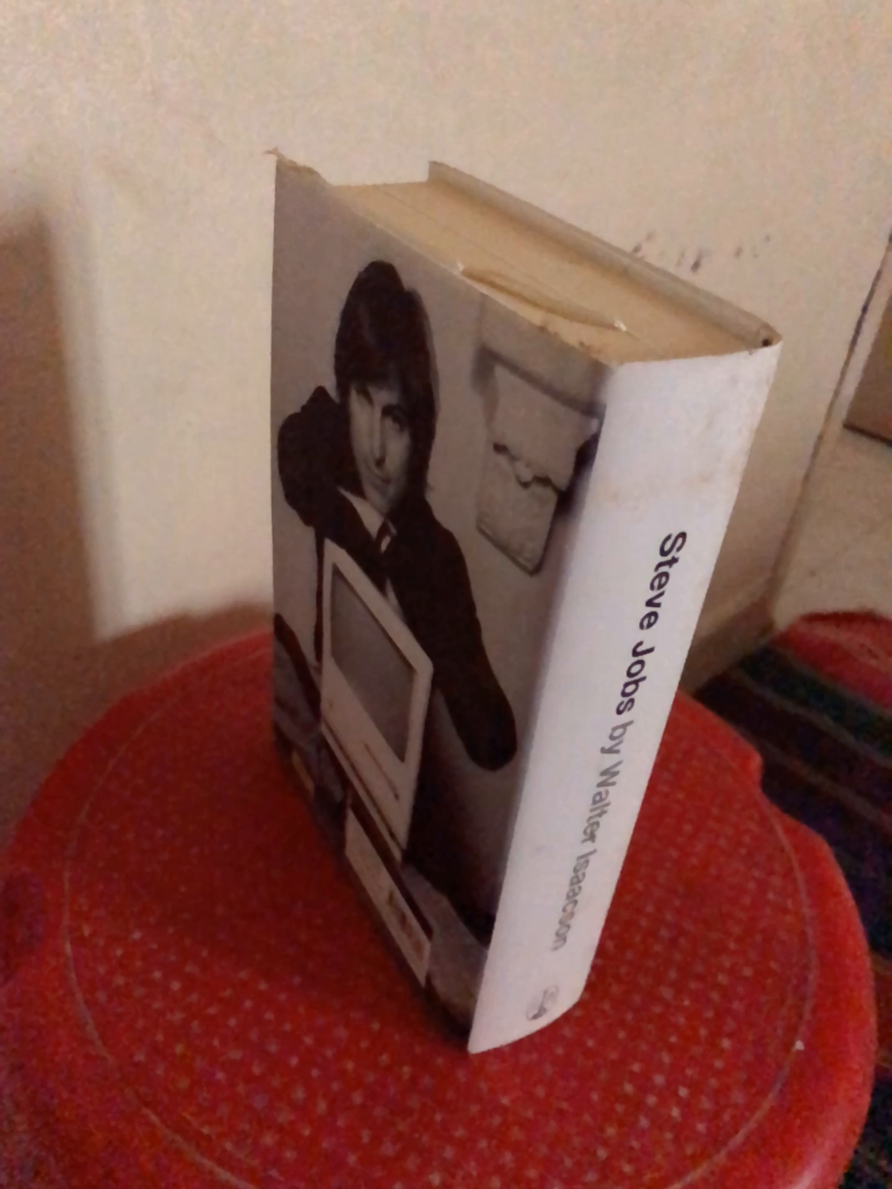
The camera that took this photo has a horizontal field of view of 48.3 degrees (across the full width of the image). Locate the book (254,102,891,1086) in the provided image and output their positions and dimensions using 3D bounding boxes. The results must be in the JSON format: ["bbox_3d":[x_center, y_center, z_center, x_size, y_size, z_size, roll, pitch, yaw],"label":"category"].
[{"bbox_3d":[0.004,-0.004,0.296,0.060,0.229,0.171,-14,39,-28],"label":"book"}]
